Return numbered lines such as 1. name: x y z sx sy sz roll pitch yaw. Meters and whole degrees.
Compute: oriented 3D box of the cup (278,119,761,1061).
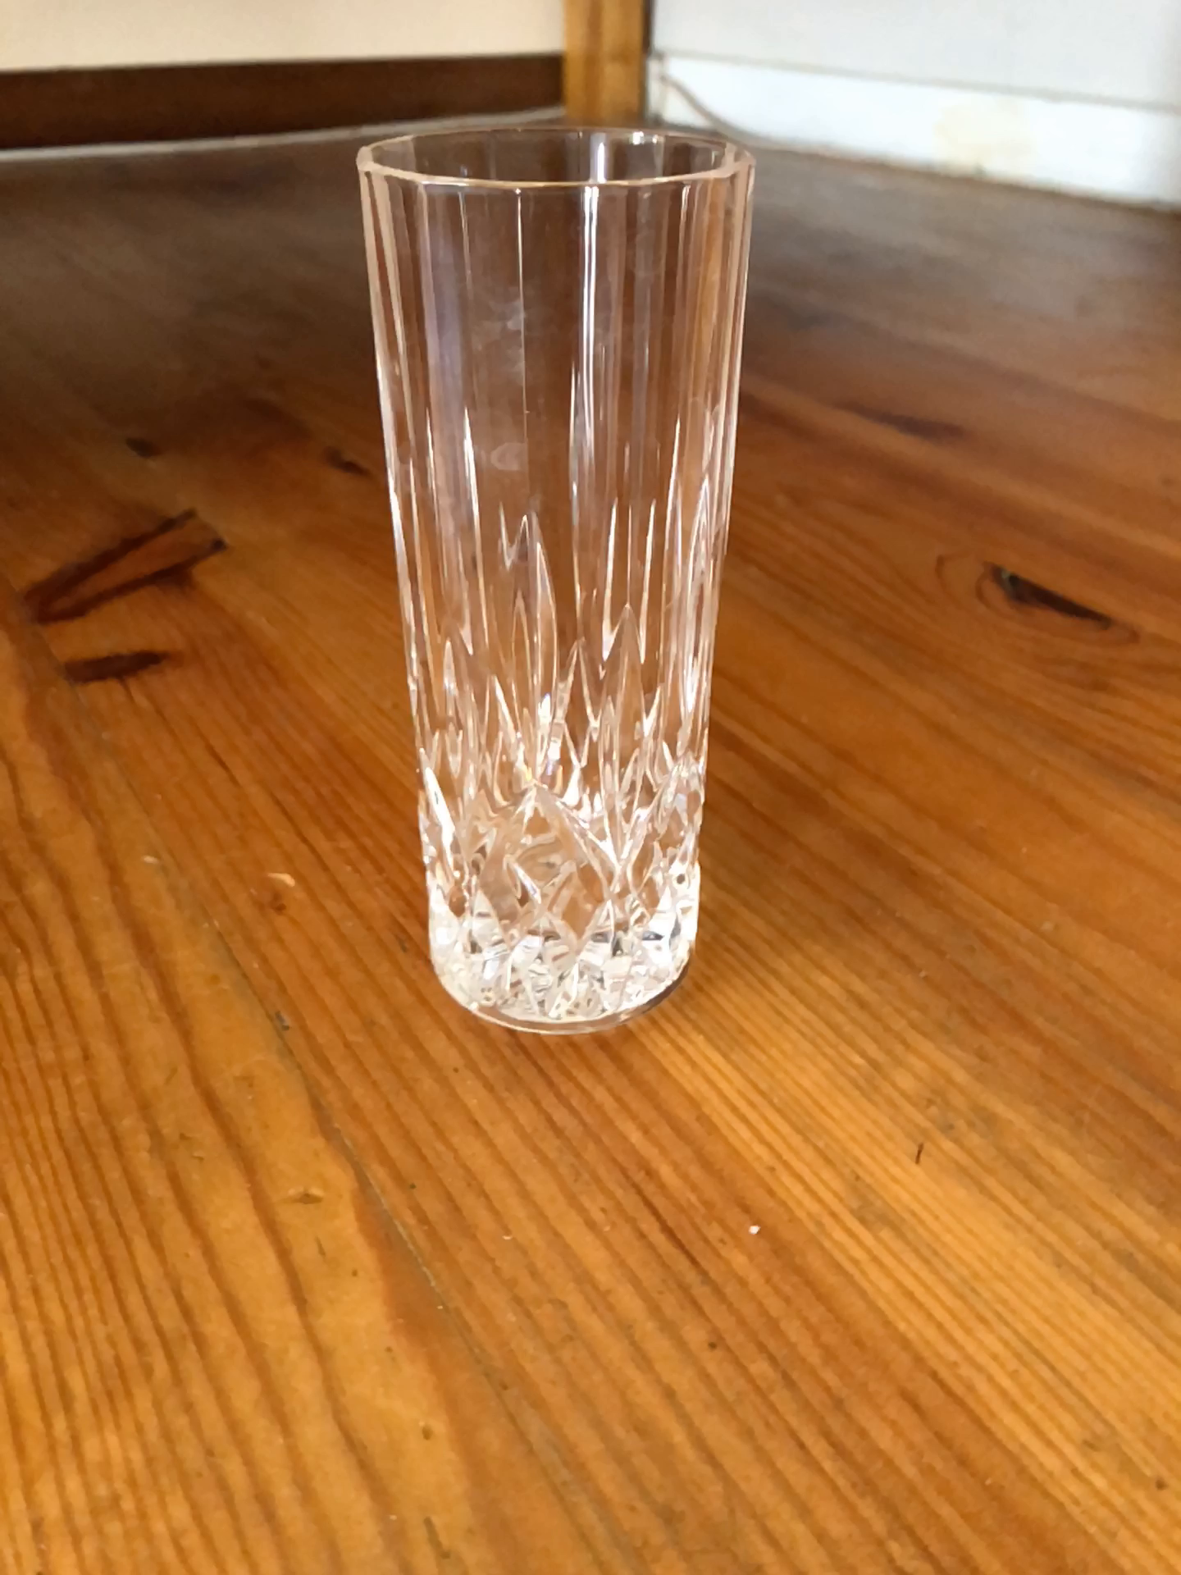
1. cup: -0.008 -0.030 0.227 0.059 0.144 0.064 1 32 -1
